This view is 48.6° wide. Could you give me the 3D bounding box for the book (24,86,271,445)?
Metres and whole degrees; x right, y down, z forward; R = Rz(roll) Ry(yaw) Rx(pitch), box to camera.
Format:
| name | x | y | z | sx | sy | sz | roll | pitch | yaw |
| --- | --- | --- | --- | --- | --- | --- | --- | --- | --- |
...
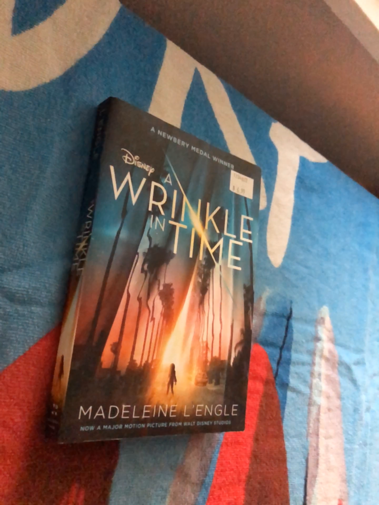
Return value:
| name | x | y | z | sx | sy | sz | roll | pitch | yaw |
| --- | --- | --- | --- | --- | --- | --- | --- | --- | --- |
| book | -0.014 | 0.015 | 0.275 | 0.138 | 0.031 | 0.195 | 16 | 76 | -36 |
